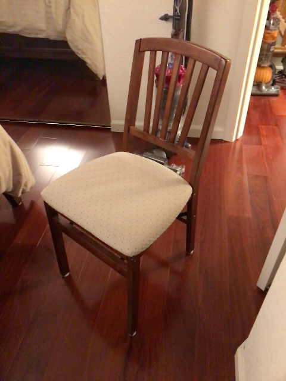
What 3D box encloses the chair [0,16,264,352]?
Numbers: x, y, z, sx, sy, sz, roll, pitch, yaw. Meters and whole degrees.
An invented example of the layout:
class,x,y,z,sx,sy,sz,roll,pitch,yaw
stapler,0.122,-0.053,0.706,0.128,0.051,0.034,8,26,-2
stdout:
class,x,y,z,sx,sy,sz,roll,pitch,yaw
chair,-0.039,-0.019,1.095,0.501,0.923,0.563,28,48,30
